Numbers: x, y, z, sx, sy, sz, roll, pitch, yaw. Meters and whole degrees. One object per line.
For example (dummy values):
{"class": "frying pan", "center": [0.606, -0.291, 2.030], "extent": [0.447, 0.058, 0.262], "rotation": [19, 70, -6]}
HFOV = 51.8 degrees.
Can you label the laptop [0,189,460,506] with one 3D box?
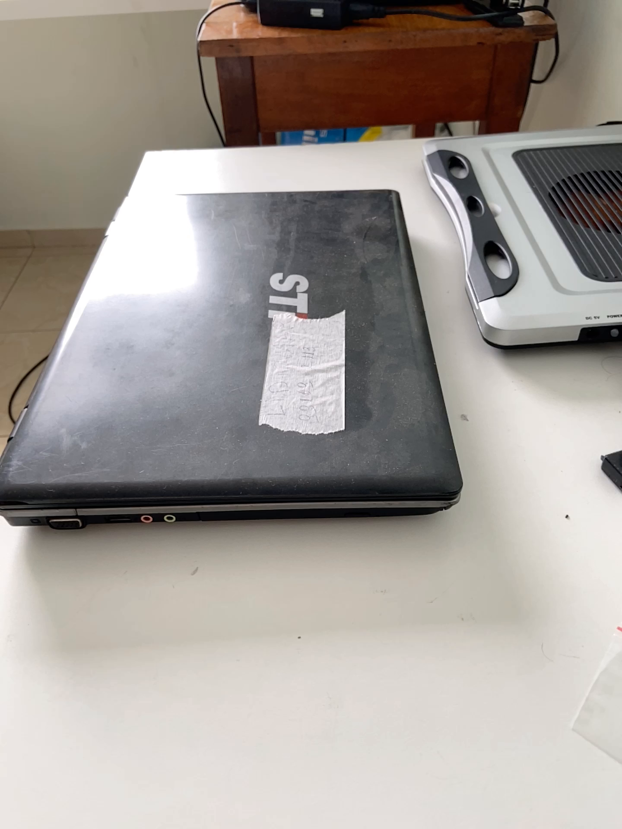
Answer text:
{"class": "laptop", "center": [-0.042, -0.075, 0.442], "extent": [0.234, 0.006, 0.339], "rotation": [-1, 44, 1]}
